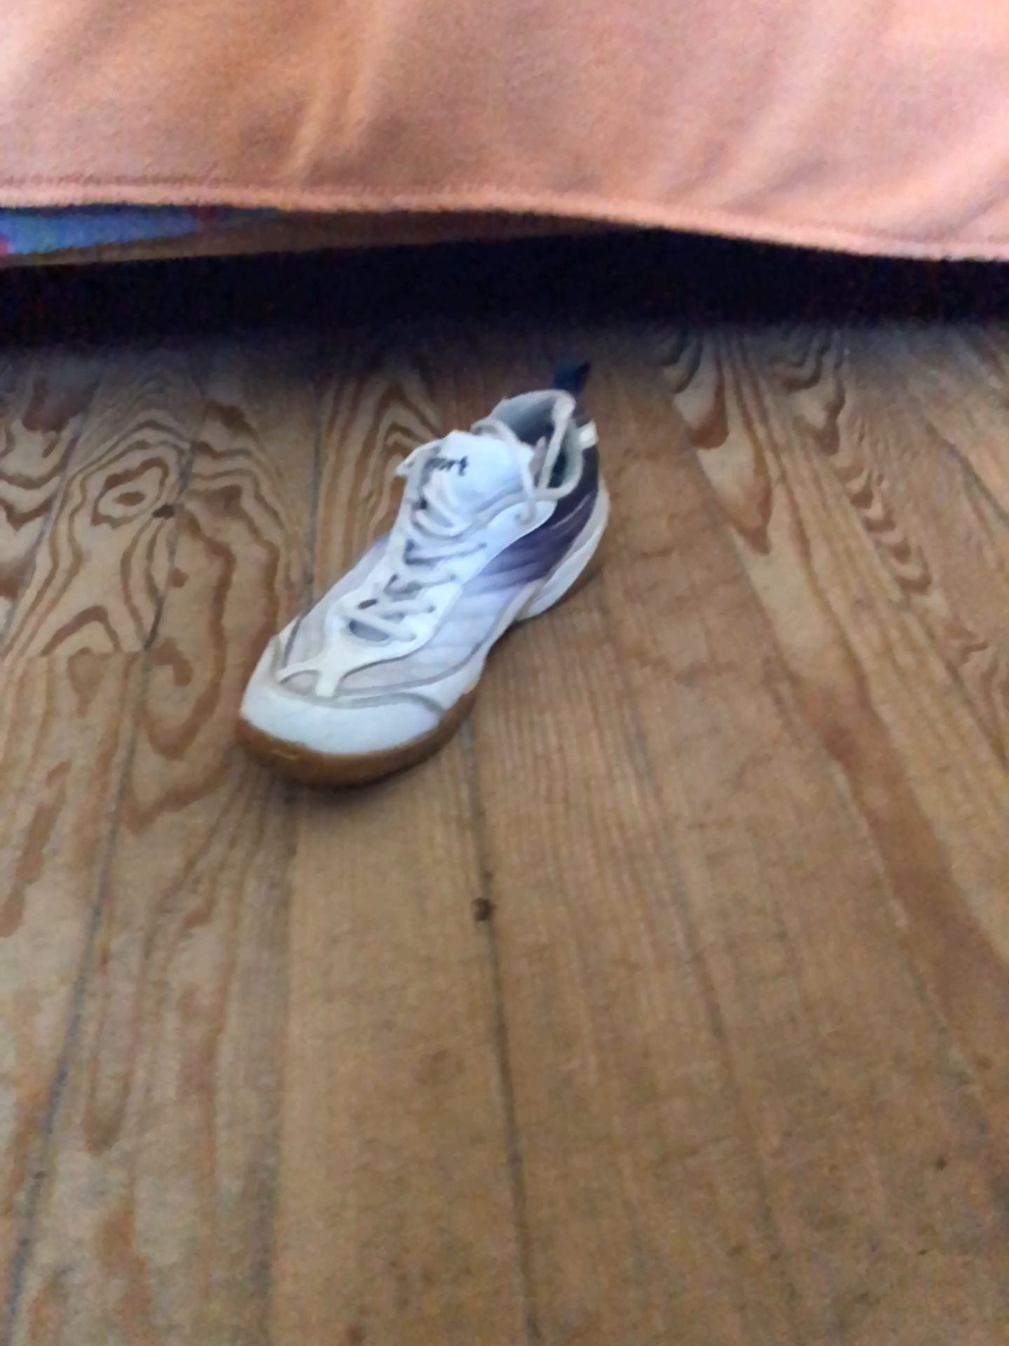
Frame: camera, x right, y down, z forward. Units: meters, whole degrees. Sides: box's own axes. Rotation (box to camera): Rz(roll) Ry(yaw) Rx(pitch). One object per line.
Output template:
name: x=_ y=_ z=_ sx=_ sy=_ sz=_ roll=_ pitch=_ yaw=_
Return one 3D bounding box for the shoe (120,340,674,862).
shoe: x=-0.033 y=-0.051 z=0.535 sx=0.110 sy=0.099 sz=0.261 roll=24 pitch=48 yaw=27
